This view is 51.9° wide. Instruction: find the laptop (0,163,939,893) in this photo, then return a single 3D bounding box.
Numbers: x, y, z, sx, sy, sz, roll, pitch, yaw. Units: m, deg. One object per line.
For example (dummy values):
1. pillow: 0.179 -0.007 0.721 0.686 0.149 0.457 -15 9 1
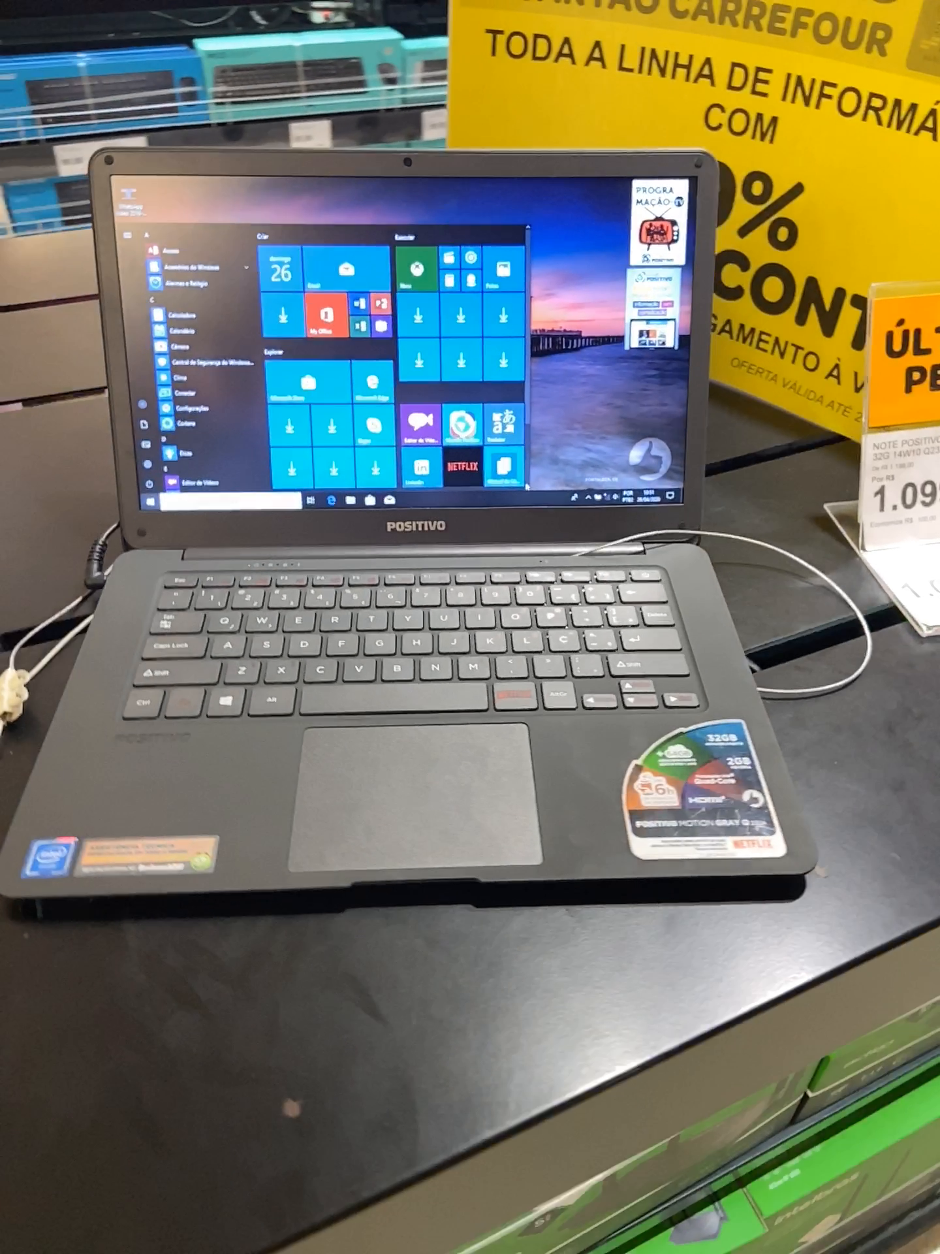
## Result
1. laptop: -0.023 -0.065 0.408 0.296 0.159 0.293 -1 42 -2
